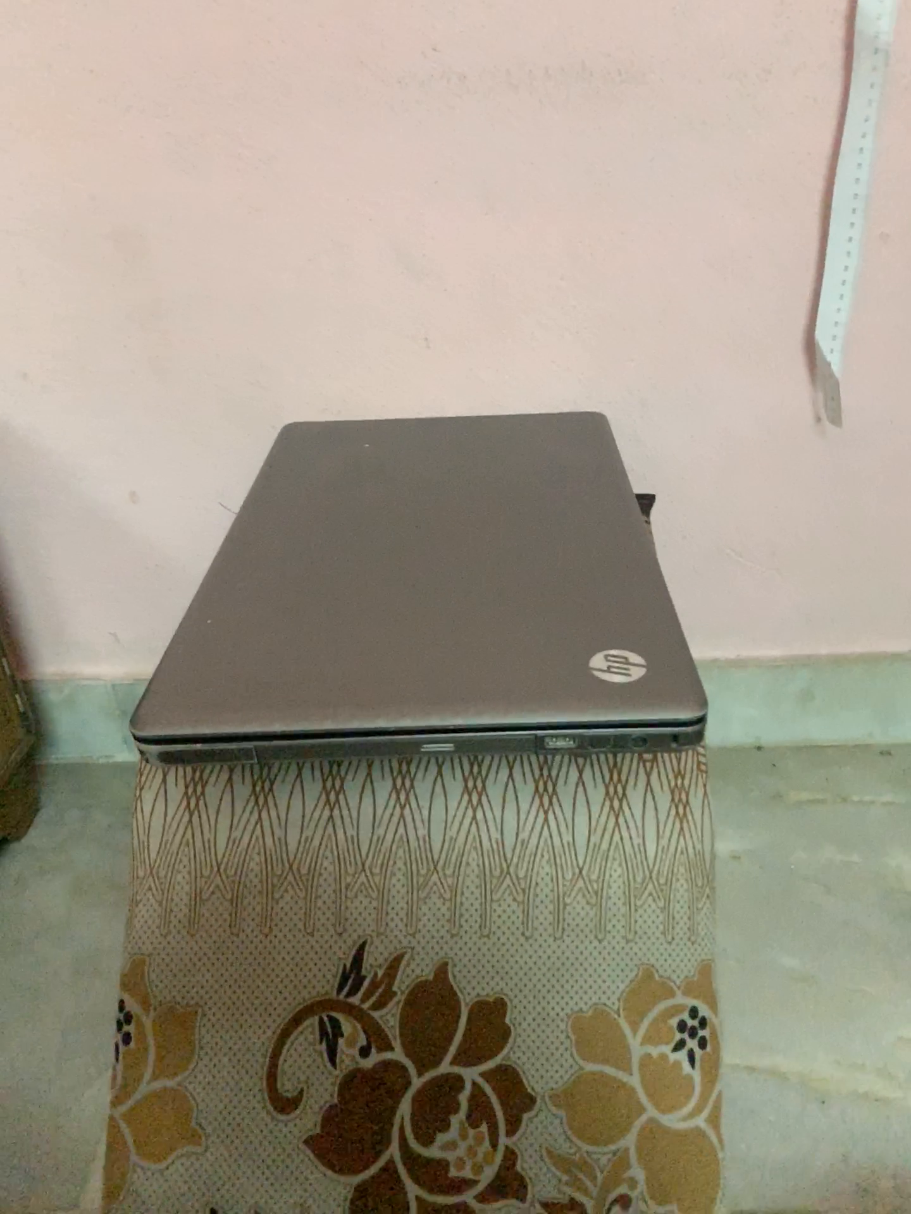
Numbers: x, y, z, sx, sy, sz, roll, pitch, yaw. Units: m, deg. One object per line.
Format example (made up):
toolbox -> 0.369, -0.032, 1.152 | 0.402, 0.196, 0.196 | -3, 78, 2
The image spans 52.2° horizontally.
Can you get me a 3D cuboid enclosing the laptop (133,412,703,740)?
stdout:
laptop -> -0.014, -0.047, 0.567 | 0.249, 0.002, 0.381 | -2, 32, 2
